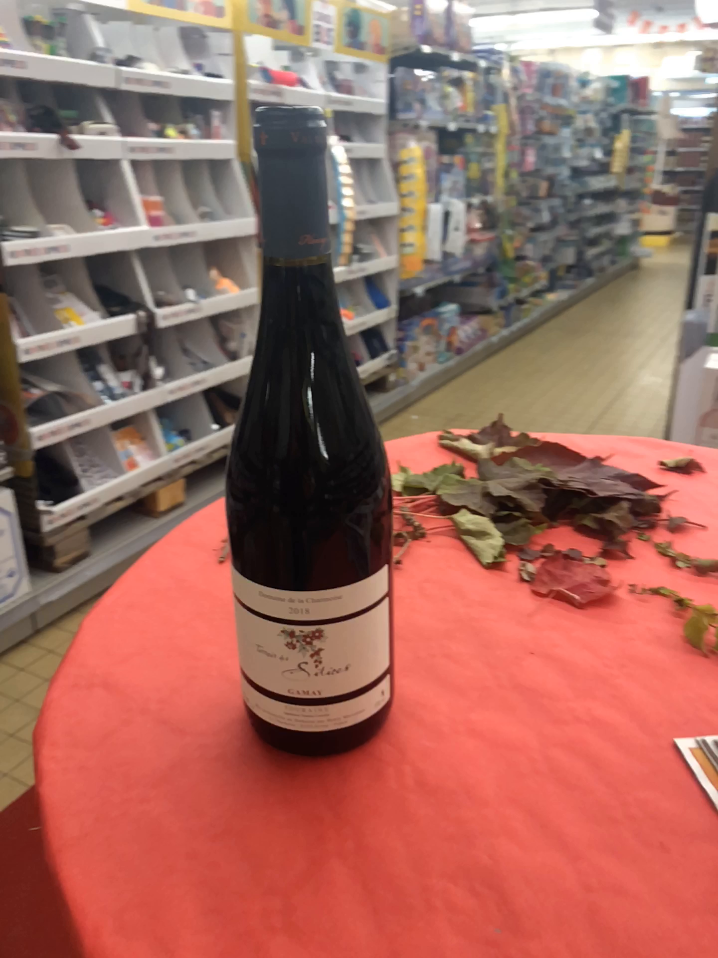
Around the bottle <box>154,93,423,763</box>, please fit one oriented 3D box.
[{"bbox_3d":[-0.022,-0.018,0.373,0.090,0.289,0.091,0,22,0],"label":"bottle"}]
